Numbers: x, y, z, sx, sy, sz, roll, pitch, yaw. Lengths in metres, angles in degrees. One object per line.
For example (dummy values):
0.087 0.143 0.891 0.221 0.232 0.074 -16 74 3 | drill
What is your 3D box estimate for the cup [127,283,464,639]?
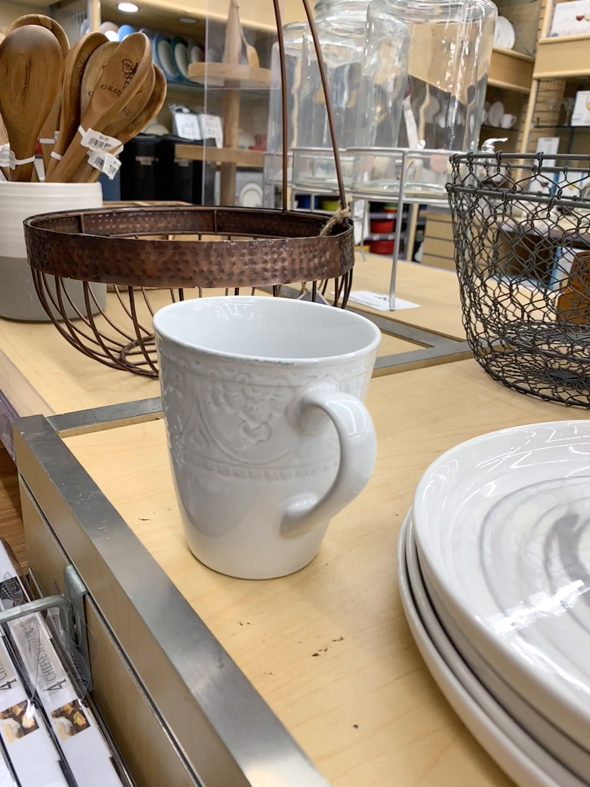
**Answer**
-0.009 0.016 0.289 0.099 0.107 0.125 -11 25 -31 | cup
